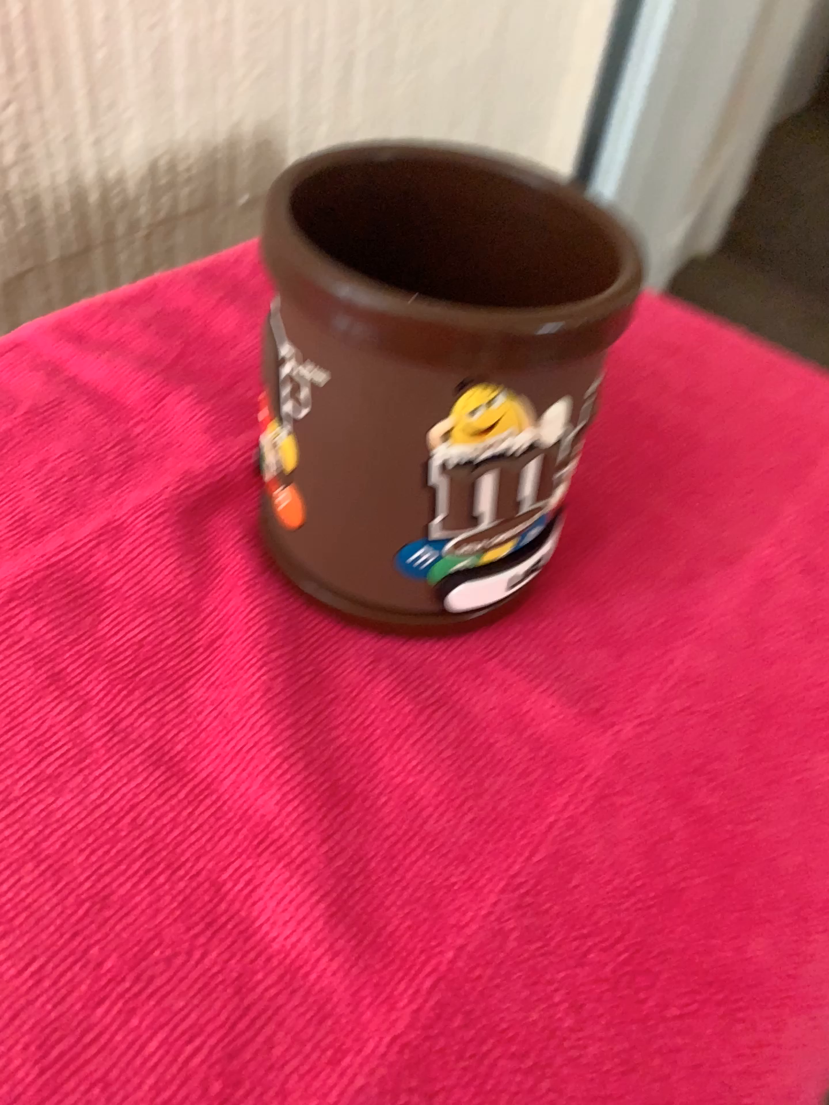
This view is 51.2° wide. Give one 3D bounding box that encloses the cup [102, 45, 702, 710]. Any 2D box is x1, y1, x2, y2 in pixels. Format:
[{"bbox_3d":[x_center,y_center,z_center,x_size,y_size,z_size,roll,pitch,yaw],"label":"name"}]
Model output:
[{"bbox_3d":[0.002,-0.051,0.222,0.090,0.099,0.121,22,46,11],"label":"cup"}]
